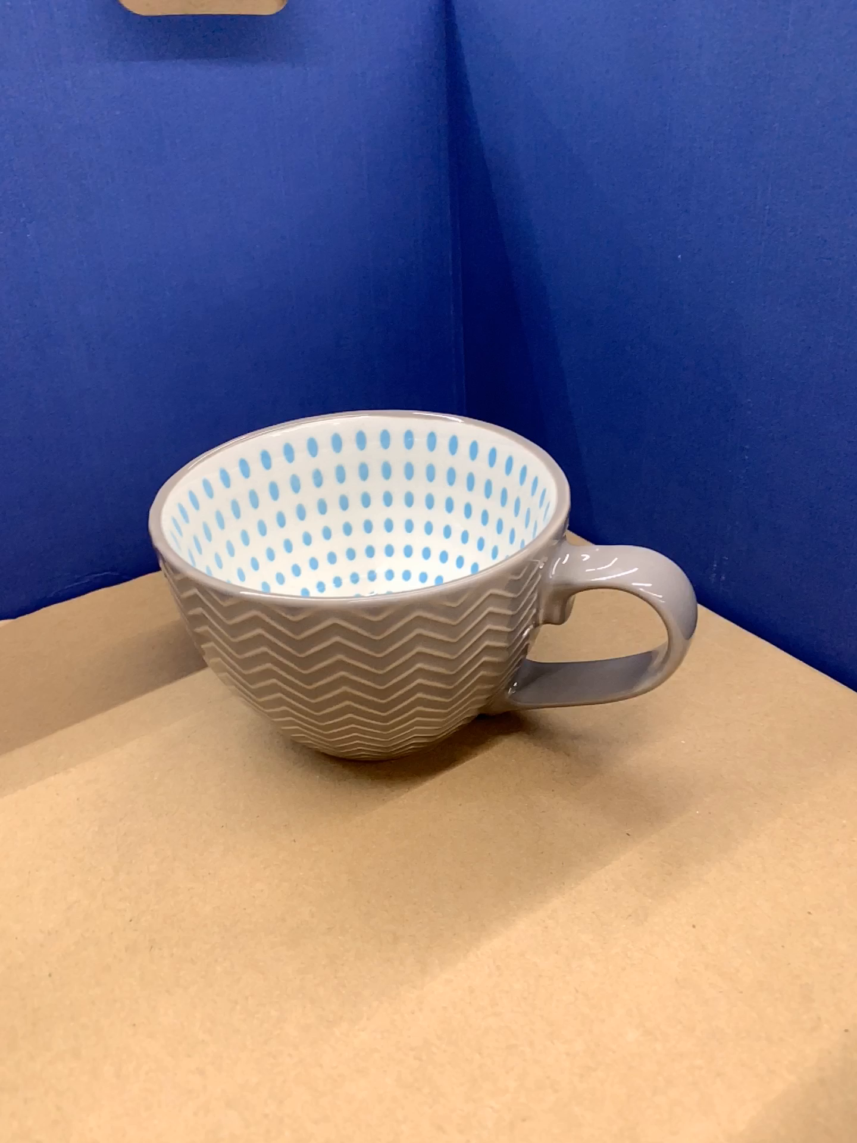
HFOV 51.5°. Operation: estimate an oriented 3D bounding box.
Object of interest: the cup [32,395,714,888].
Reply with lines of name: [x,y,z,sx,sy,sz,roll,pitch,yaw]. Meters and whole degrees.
cup: [-0.002,0.004,0.243,0.143,0.061,0.119,7,31,17]
